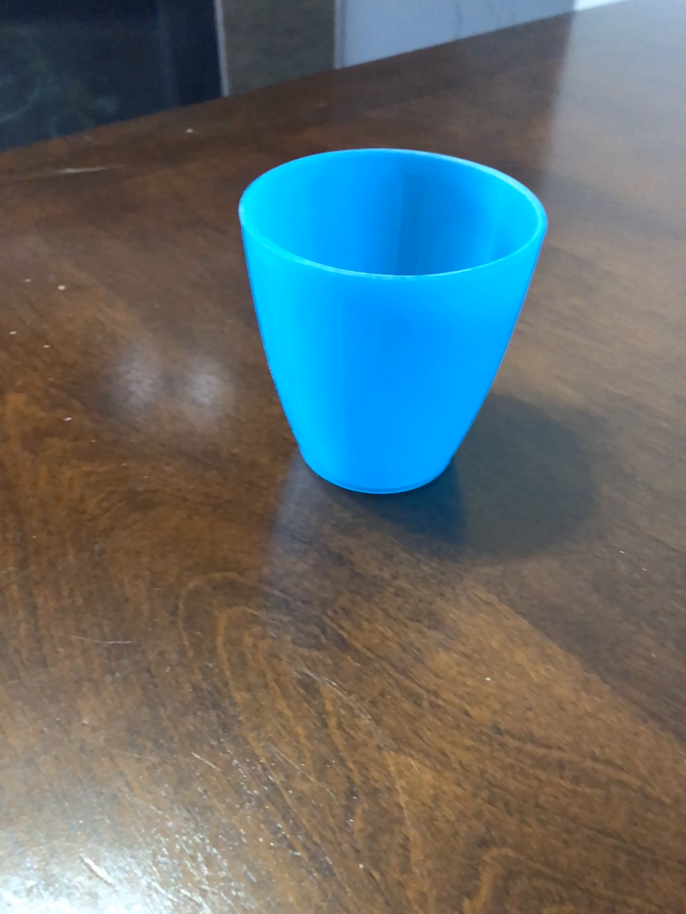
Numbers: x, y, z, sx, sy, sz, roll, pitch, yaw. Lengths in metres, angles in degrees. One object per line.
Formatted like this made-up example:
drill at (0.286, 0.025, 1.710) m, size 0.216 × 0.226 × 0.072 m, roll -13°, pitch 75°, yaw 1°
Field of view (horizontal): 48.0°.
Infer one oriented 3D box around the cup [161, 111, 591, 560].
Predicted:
cup at (0.010, -0.037, 0.212) m, size 0.080 × 0.080 × 0.070 m, roll 22°, pitch 45°, yaw 21°
